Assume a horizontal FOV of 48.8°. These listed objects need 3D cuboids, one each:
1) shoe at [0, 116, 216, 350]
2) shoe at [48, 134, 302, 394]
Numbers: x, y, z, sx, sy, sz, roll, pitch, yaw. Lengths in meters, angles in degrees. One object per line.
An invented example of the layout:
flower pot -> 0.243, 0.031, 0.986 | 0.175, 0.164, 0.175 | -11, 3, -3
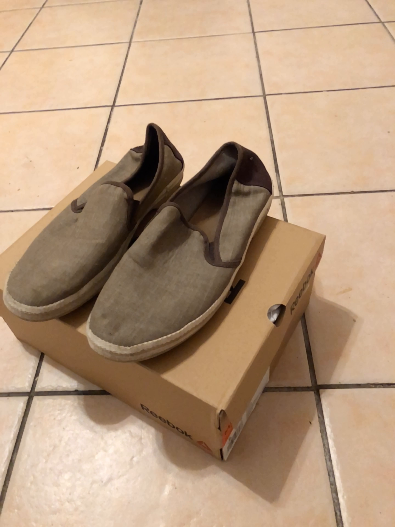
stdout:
shoe -> -0.100, -0.055, 0.497 | 0.110, 0.069, 0.293 | 21, 53, 23
shoe -> -0.004, -0.020, 0.433 | 0.100, 0.069, 0.271 | 24, 54, 25
